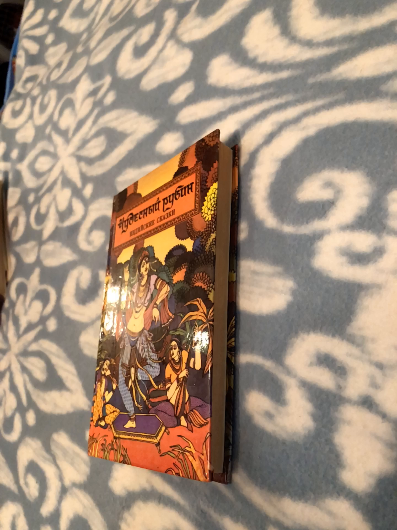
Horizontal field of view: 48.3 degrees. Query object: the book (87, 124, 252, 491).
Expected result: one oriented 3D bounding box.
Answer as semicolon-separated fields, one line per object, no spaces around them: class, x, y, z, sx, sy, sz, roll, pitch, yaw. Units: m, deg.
book;-0.024;0.028;0.310;0.140;0.027;0.210;-18;64;48
